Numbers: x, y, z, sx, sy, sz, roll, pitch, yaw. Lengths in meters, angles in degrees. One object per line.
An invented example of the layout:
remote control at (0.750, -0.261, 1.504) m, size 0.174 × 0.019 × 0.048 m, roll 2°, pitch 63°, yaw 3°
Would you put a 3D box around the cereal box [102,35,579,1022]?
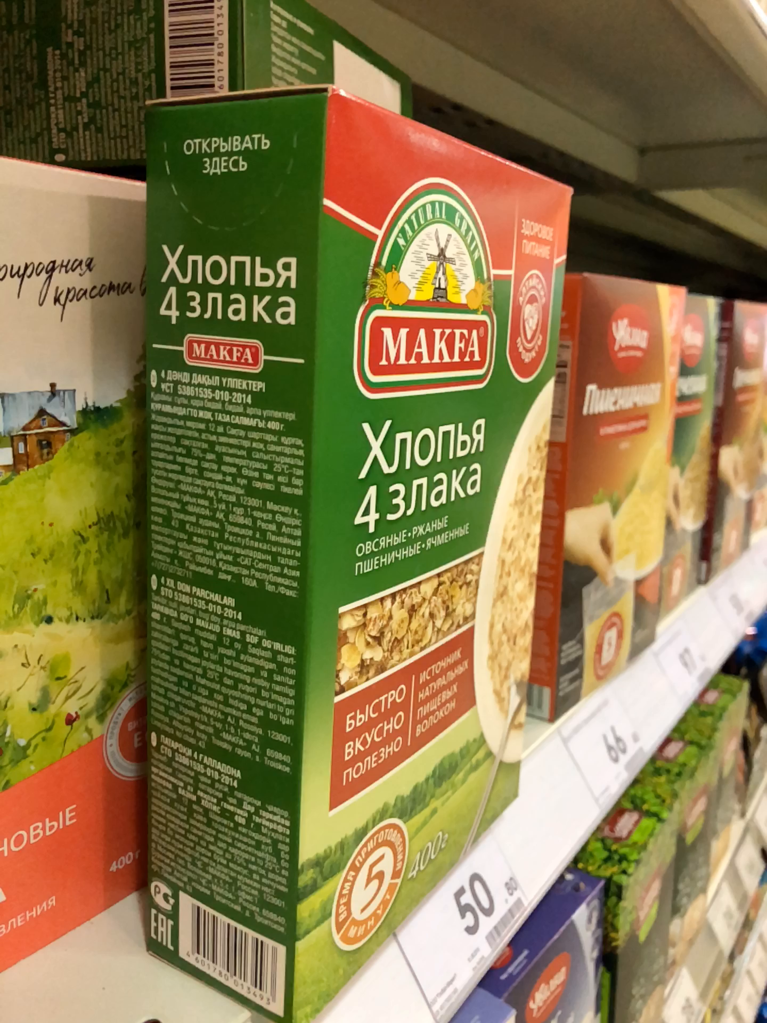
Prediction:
cereal box at (-0.004, 0.006, 0.238) m, size 0.050 × 0.209 × 0.140 m, roll 10°, pitch 14°, yaw 31°
